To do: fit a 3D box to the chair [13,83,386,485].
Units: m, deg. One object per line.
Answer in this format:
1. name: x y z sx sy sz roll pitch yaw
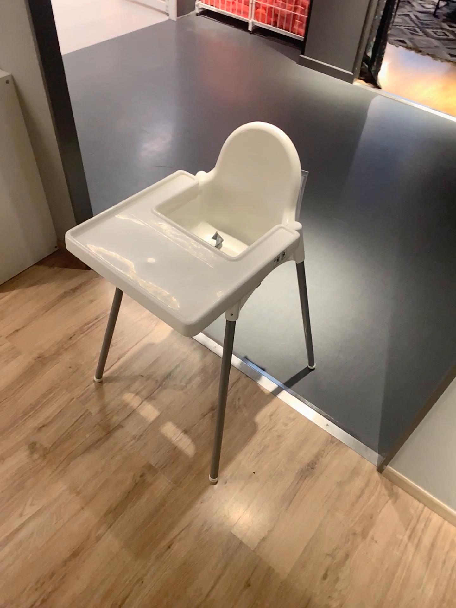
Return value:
1. chair: -0.063 -0.050 1.338 0.571 0.797 0.621 32 54 22
